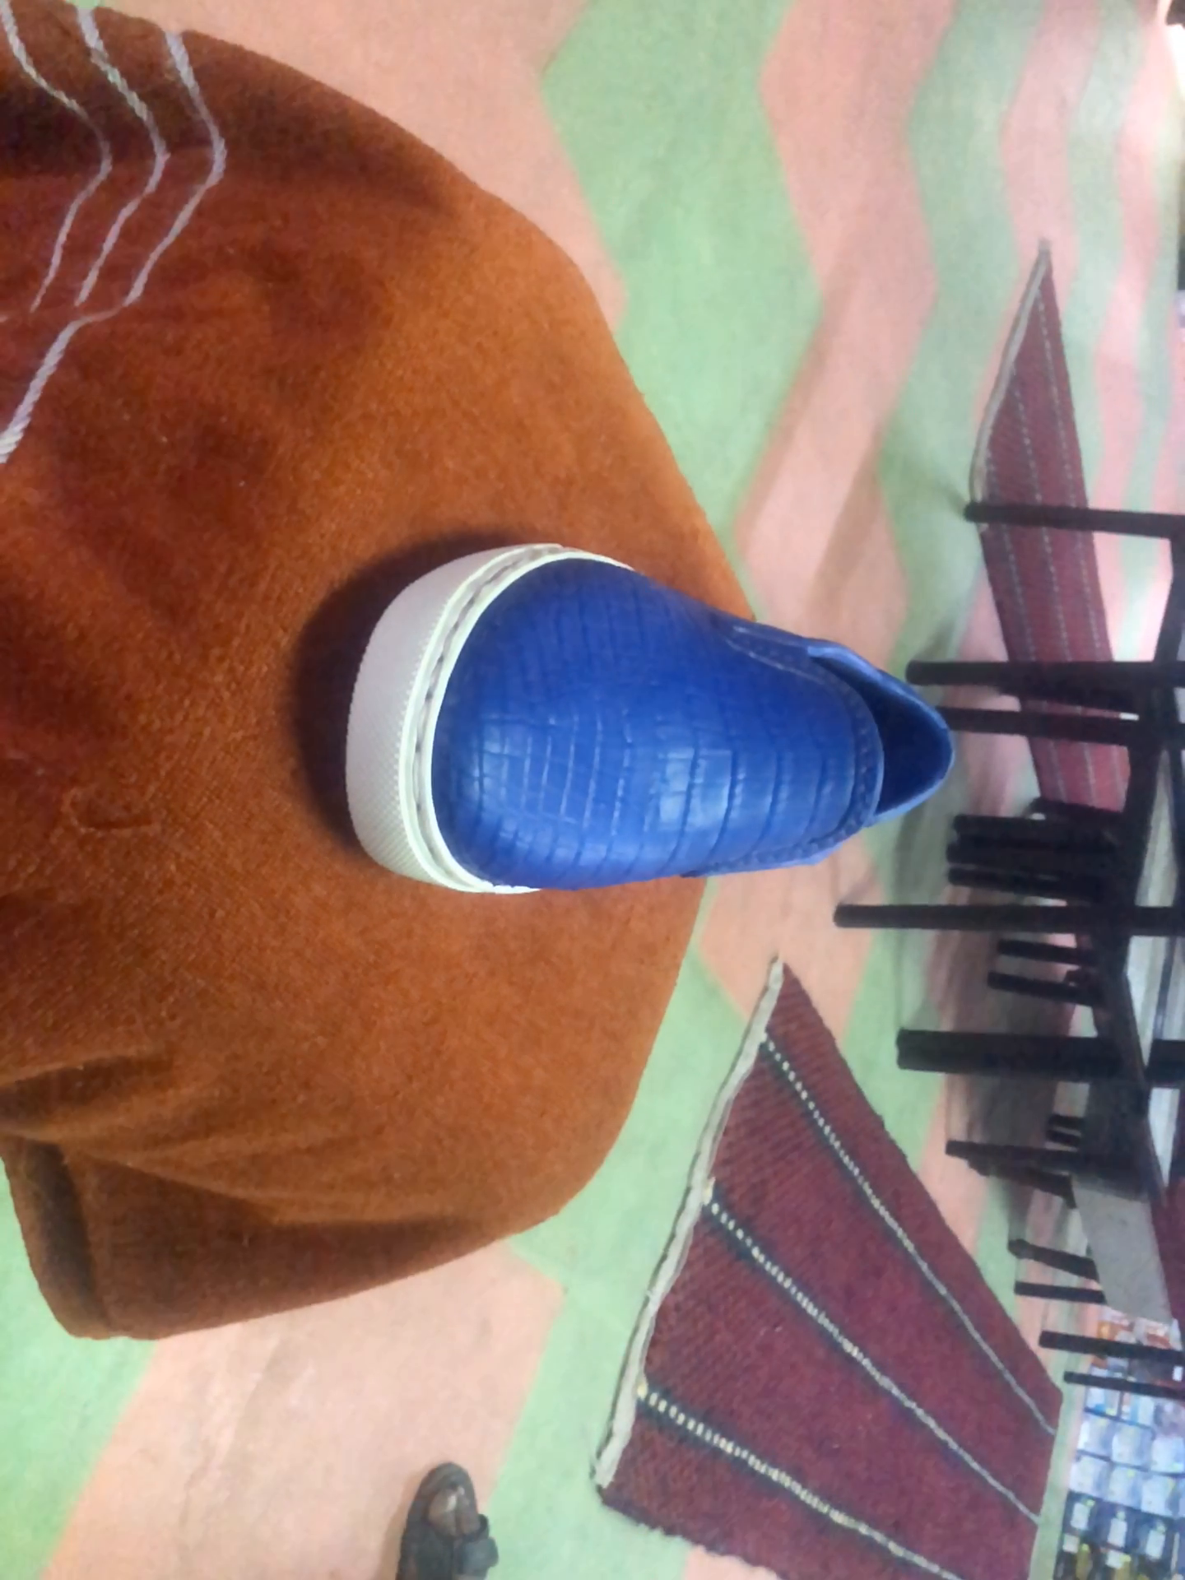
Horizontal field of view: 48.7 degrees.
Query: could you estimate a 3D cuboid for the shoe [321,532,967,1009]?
[{"bbox_3d":[0.043,-0.017,0.450,0.302,0.079,0.110,-7,101,-58],"label":"shoe"}]
